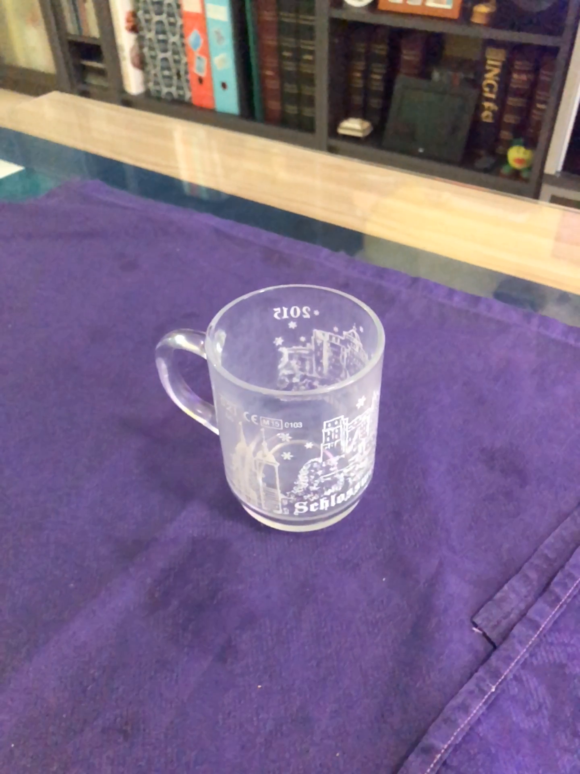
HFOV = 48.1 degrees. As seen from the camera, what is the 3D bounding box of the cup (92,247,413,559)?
[{"bbox_3d":[-0.012,0.003,0.272,0.100,0.080,0.070,17,44,21],"label":"cup"}]
